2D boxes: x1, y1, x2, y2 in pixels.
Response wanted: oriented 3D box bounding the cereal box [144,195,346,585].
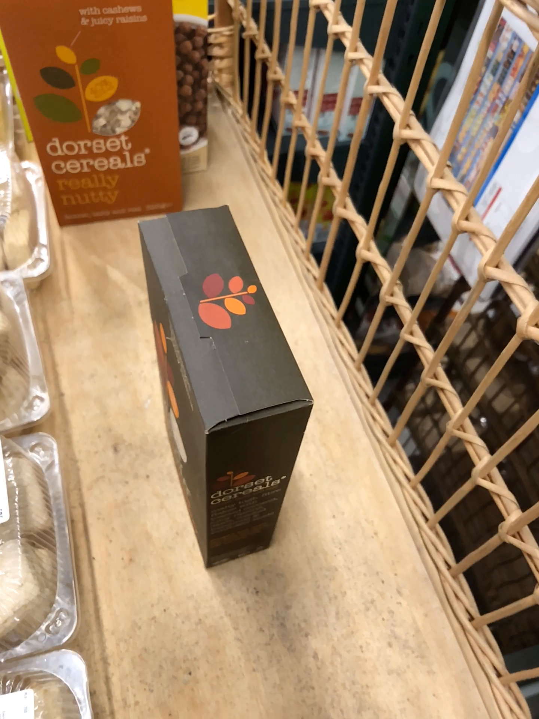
[{"bbox_3d":[-0.026,0.034,0.345,0.050,0.209,0.130,-13,60,-15],"label":"cereal box"}]
